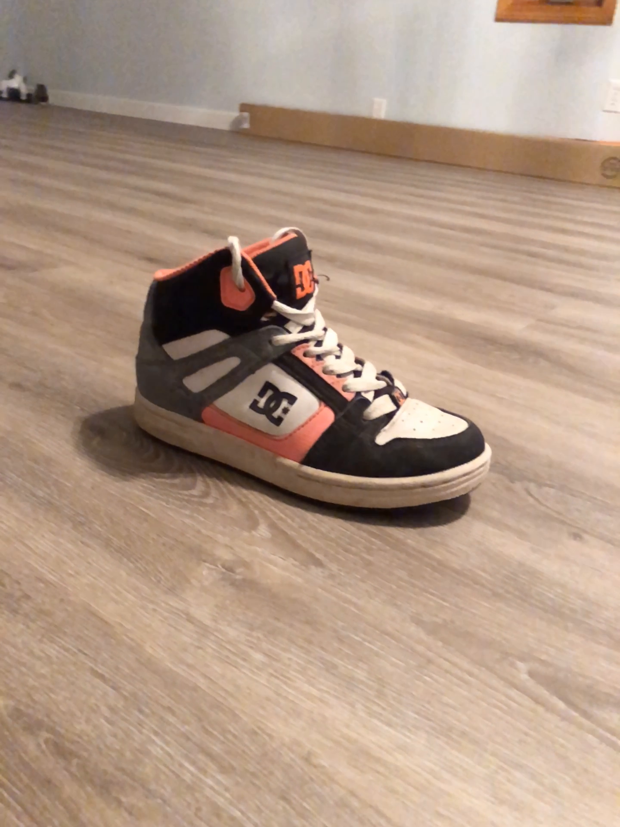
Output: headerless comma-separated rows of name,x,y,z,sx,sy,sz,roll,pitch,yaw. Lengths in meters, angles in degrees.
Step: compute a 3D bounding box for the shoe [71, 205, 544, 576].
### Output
shoe,-0.010,-0.028,0.396,0.240,0.139,0.090,16,25,21
